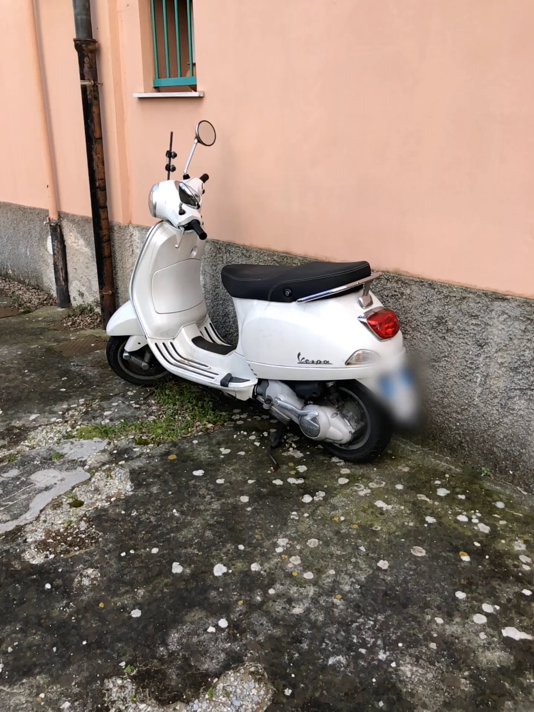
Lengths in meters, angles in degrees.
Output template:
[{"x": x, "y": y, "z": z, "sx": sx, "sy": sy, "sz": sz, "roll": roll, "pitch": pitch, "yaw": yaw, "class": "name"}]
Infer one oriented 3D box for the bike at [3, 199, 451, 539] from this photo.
[{"x": -0.260, "y": -0.085, "z": 2.502, "sx": 1.659, "sy": 1.086, "sz": 0.646, "roll": 12, "pitch": 23, "yaw": 33, "class": "bike"}]
